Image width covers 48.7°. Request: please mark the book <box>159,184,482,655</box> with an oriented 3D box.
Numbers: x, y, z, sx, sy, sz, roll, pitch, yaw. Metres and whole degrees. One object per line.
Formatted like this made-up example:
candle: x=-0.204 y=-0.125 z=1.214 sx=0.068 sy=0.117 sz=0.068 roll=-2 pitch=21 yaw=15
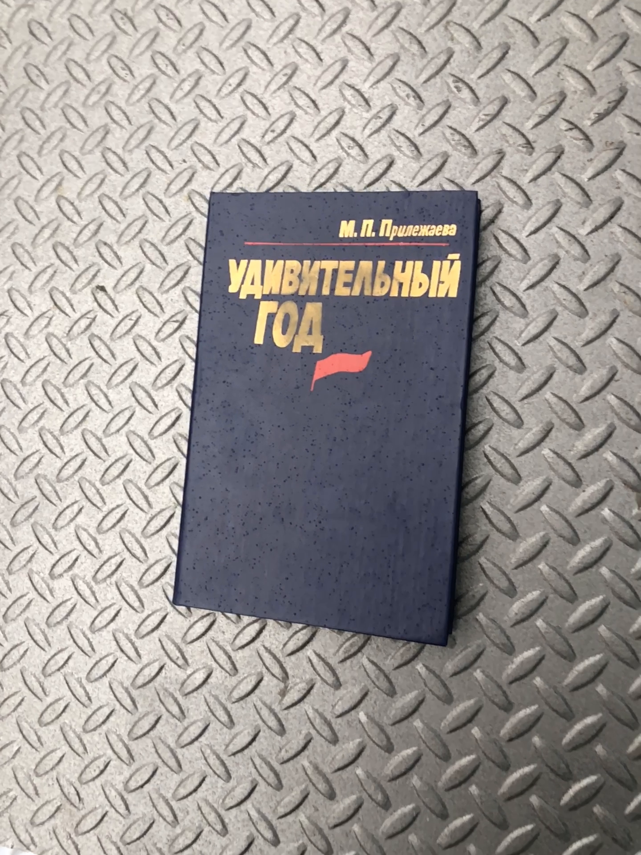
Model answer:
book: x=0.002 y=-0.008 z=0.335 sx=0.130 sy=0.040 sz=0.200 roll=4 pitch=88 yaw=14
